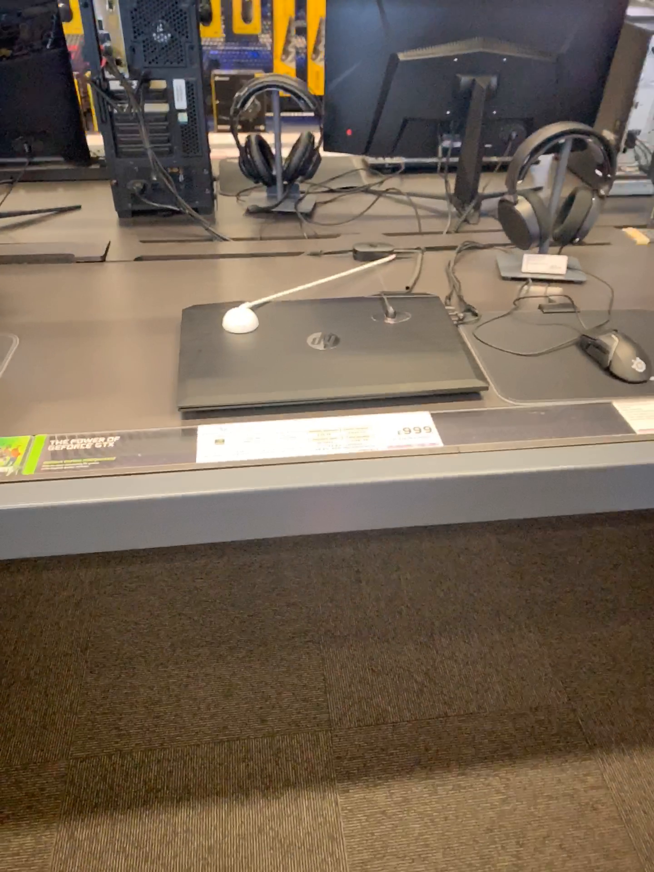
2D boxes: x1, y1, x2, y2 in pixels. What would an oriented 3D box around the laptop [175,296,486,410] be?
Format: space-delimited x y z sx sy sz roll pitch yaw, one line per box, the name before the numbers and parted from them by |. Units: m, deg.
laptop | -0.008 -0.127 0.943 0.394 0.001 0.258 -5 38 -7
